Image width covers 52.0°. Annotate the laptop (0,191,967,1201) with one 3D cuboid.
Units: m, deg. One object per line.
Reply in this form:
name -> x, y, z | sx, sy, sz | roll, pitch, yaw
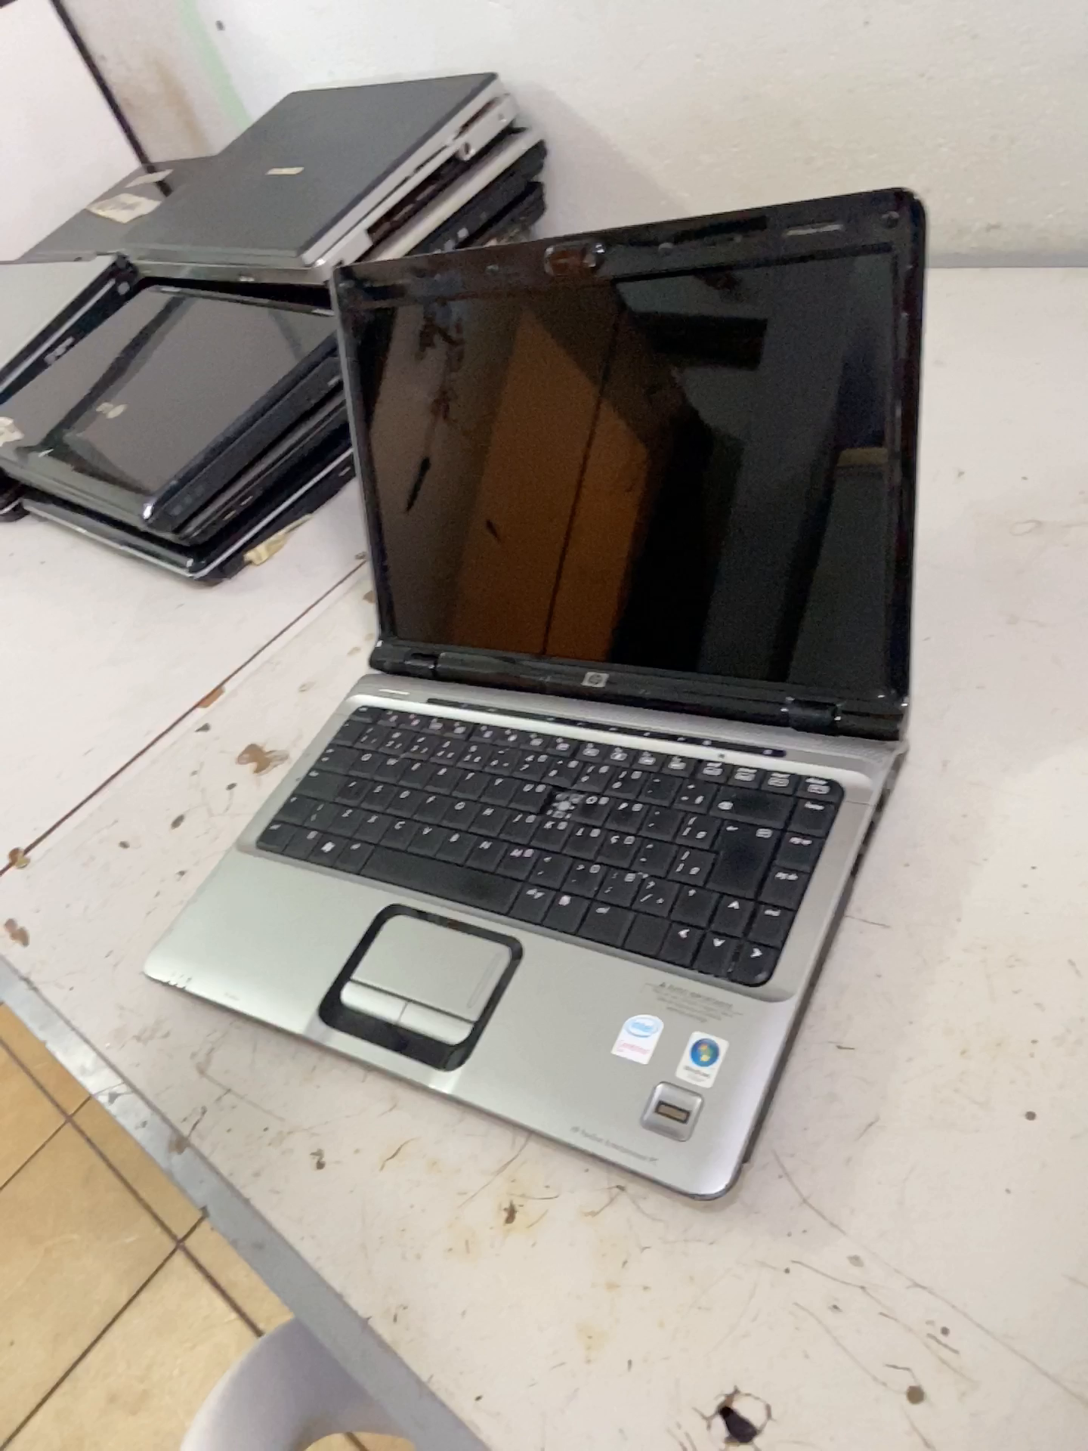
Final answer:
laptop -> -0.024, -0.043, 0.506 | 0.321, 0.193, 0.335 | 9, 52, 34
